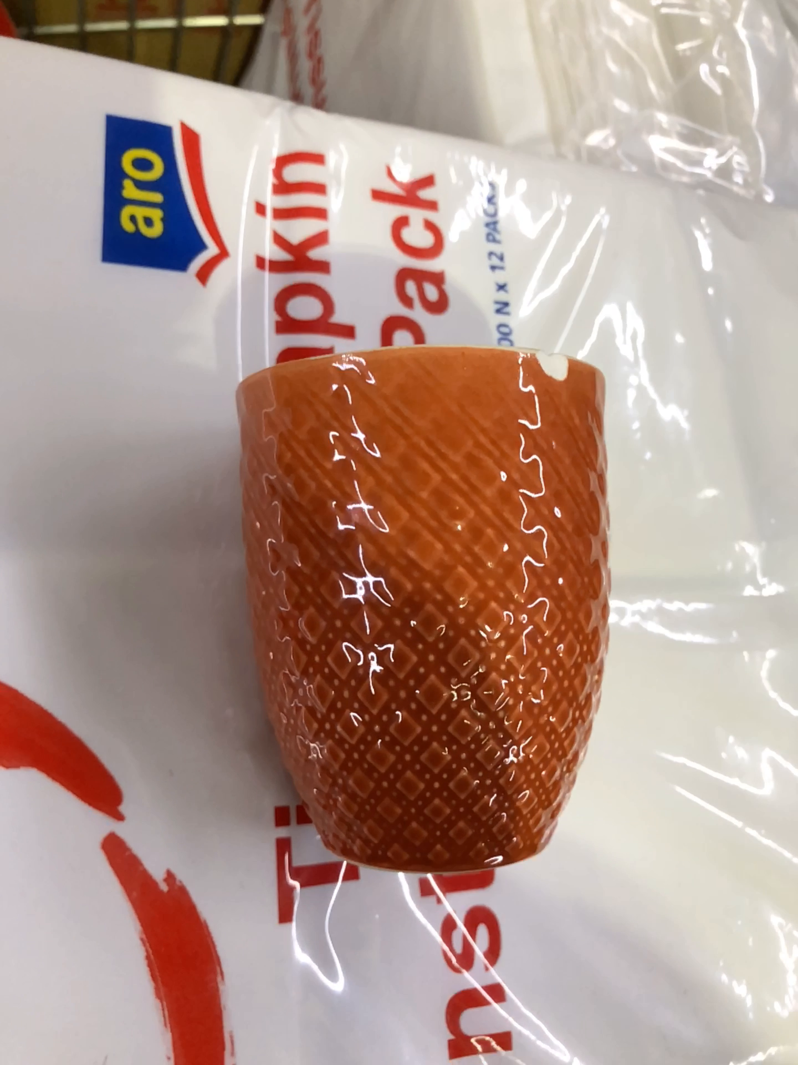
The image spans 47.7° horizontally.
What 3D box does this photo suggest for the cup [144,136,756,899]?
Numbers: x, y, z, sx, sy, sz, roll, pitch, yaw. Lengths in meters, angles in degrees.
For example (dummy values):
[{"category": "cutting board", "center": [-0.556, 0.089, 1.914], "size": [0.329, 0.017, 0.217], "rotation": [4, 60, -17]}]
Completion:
[{"category": "cup", "center": [0.016, 0.006, 0.164], "size": [0.070, 0.100, 0.090], "rotation": [-9, 79, 26]}]
